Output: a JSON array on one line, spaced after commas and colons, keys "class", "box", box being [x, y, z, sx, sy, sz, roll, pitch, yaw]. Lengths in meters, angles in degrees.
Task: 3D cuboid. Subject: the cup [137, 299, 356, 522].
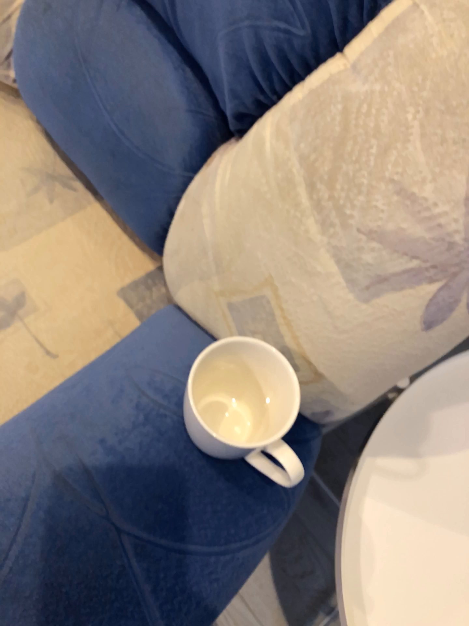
[{"class": "cup", "box": [0.003, 0.069, 0.354, 0.110, 0.080, 0.080, 41, 67, 10]}]
